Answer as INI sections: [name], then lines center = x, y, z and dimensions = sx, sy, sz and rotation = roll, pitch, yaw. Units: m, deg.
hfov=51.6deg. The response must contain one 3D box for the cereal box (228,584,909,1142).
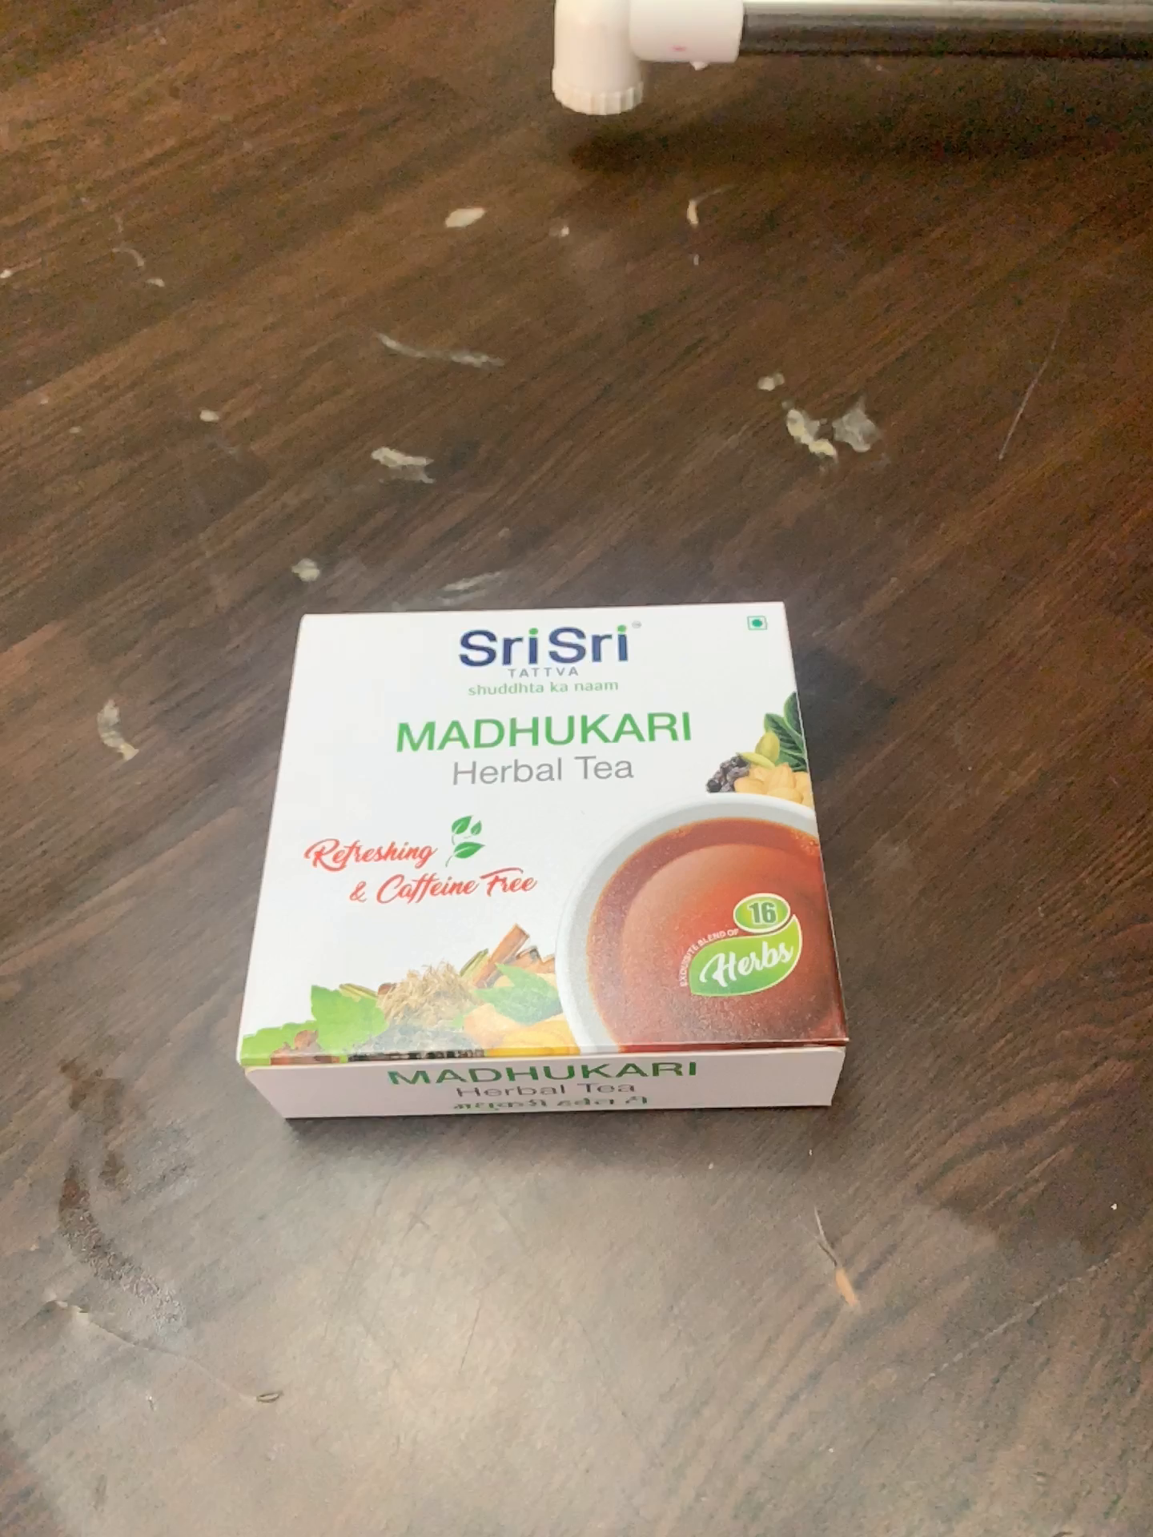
[cereal box]
center = -0.002, 0.019, 0.276
dimensions = 0.130, 0.040, 0.120
rotation = -2, 58, 2
